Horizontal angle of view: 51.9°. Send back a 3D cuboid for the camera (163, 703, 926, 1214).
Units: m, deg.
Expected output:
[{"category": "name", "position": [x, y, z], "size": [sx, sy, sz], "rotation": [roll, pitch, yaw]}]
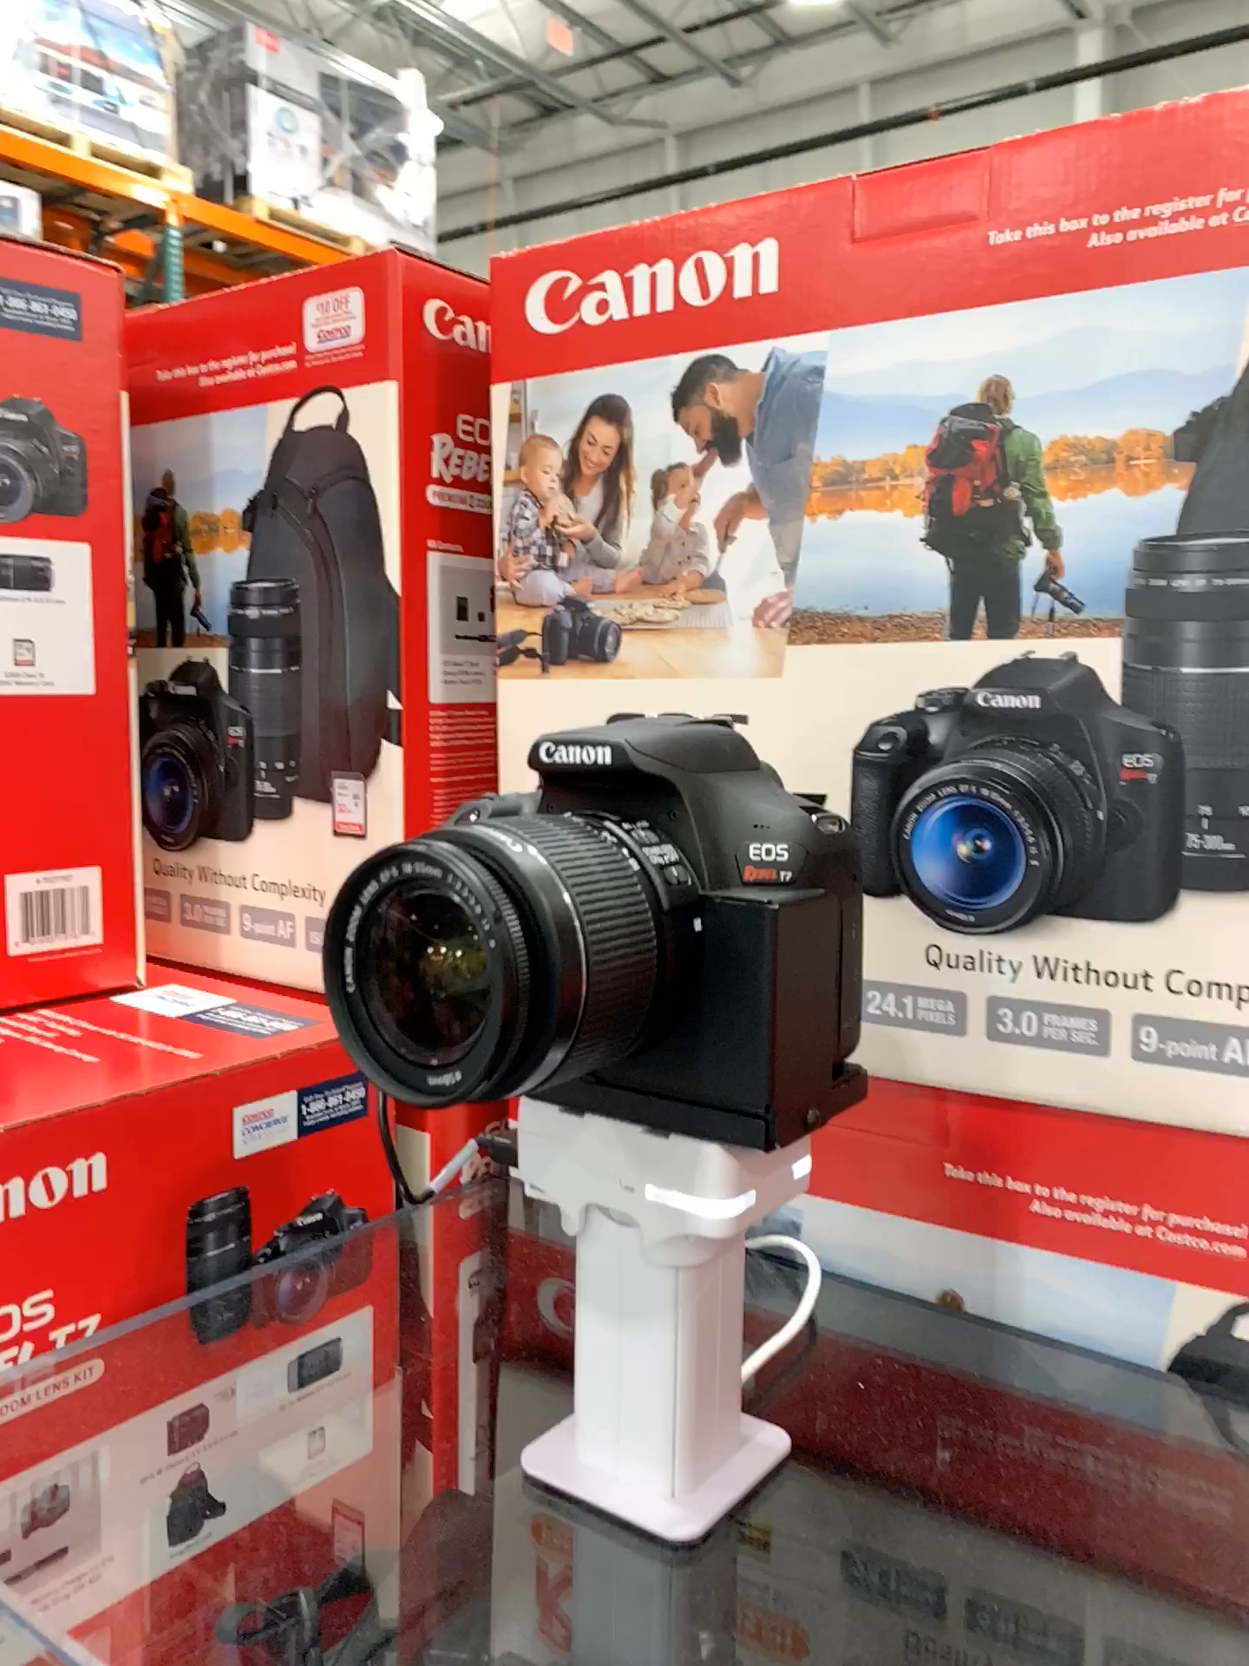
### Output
[{"category": "camera", "position": [-0.016, 0.015, 0.360], "size": [0.140, 0.100, 0.160], "rotation": [5, 8, 37]}]
